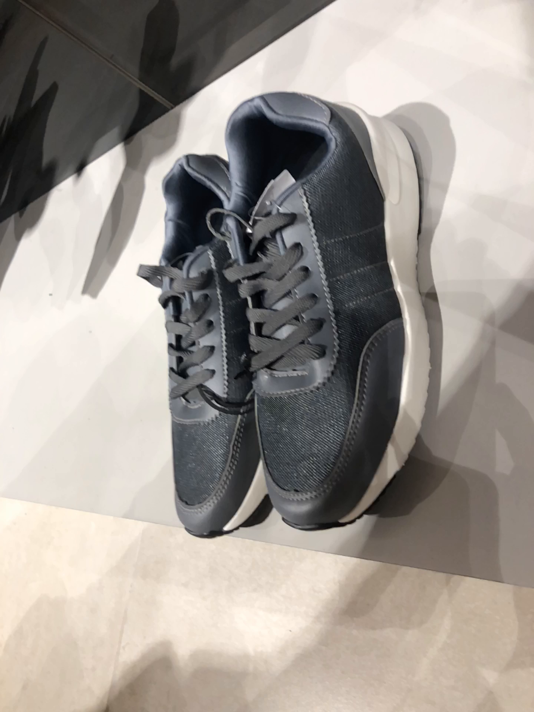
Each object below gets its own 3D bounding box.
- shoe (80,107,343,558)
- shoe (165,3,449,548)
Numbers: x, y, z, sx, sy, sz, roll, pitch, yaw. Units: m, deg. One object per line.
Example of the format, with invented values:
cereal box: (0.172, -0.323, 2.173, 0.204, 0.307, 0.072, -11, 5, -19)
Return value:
shoe: (-0.033, -0.012, 0.424, 0.111, 0.099, 0.280, -9, 67, 45)
shoe: (0.033, -0.040, 0.353, 0.110, 0.099, 0.280, -12, 65, 44)
